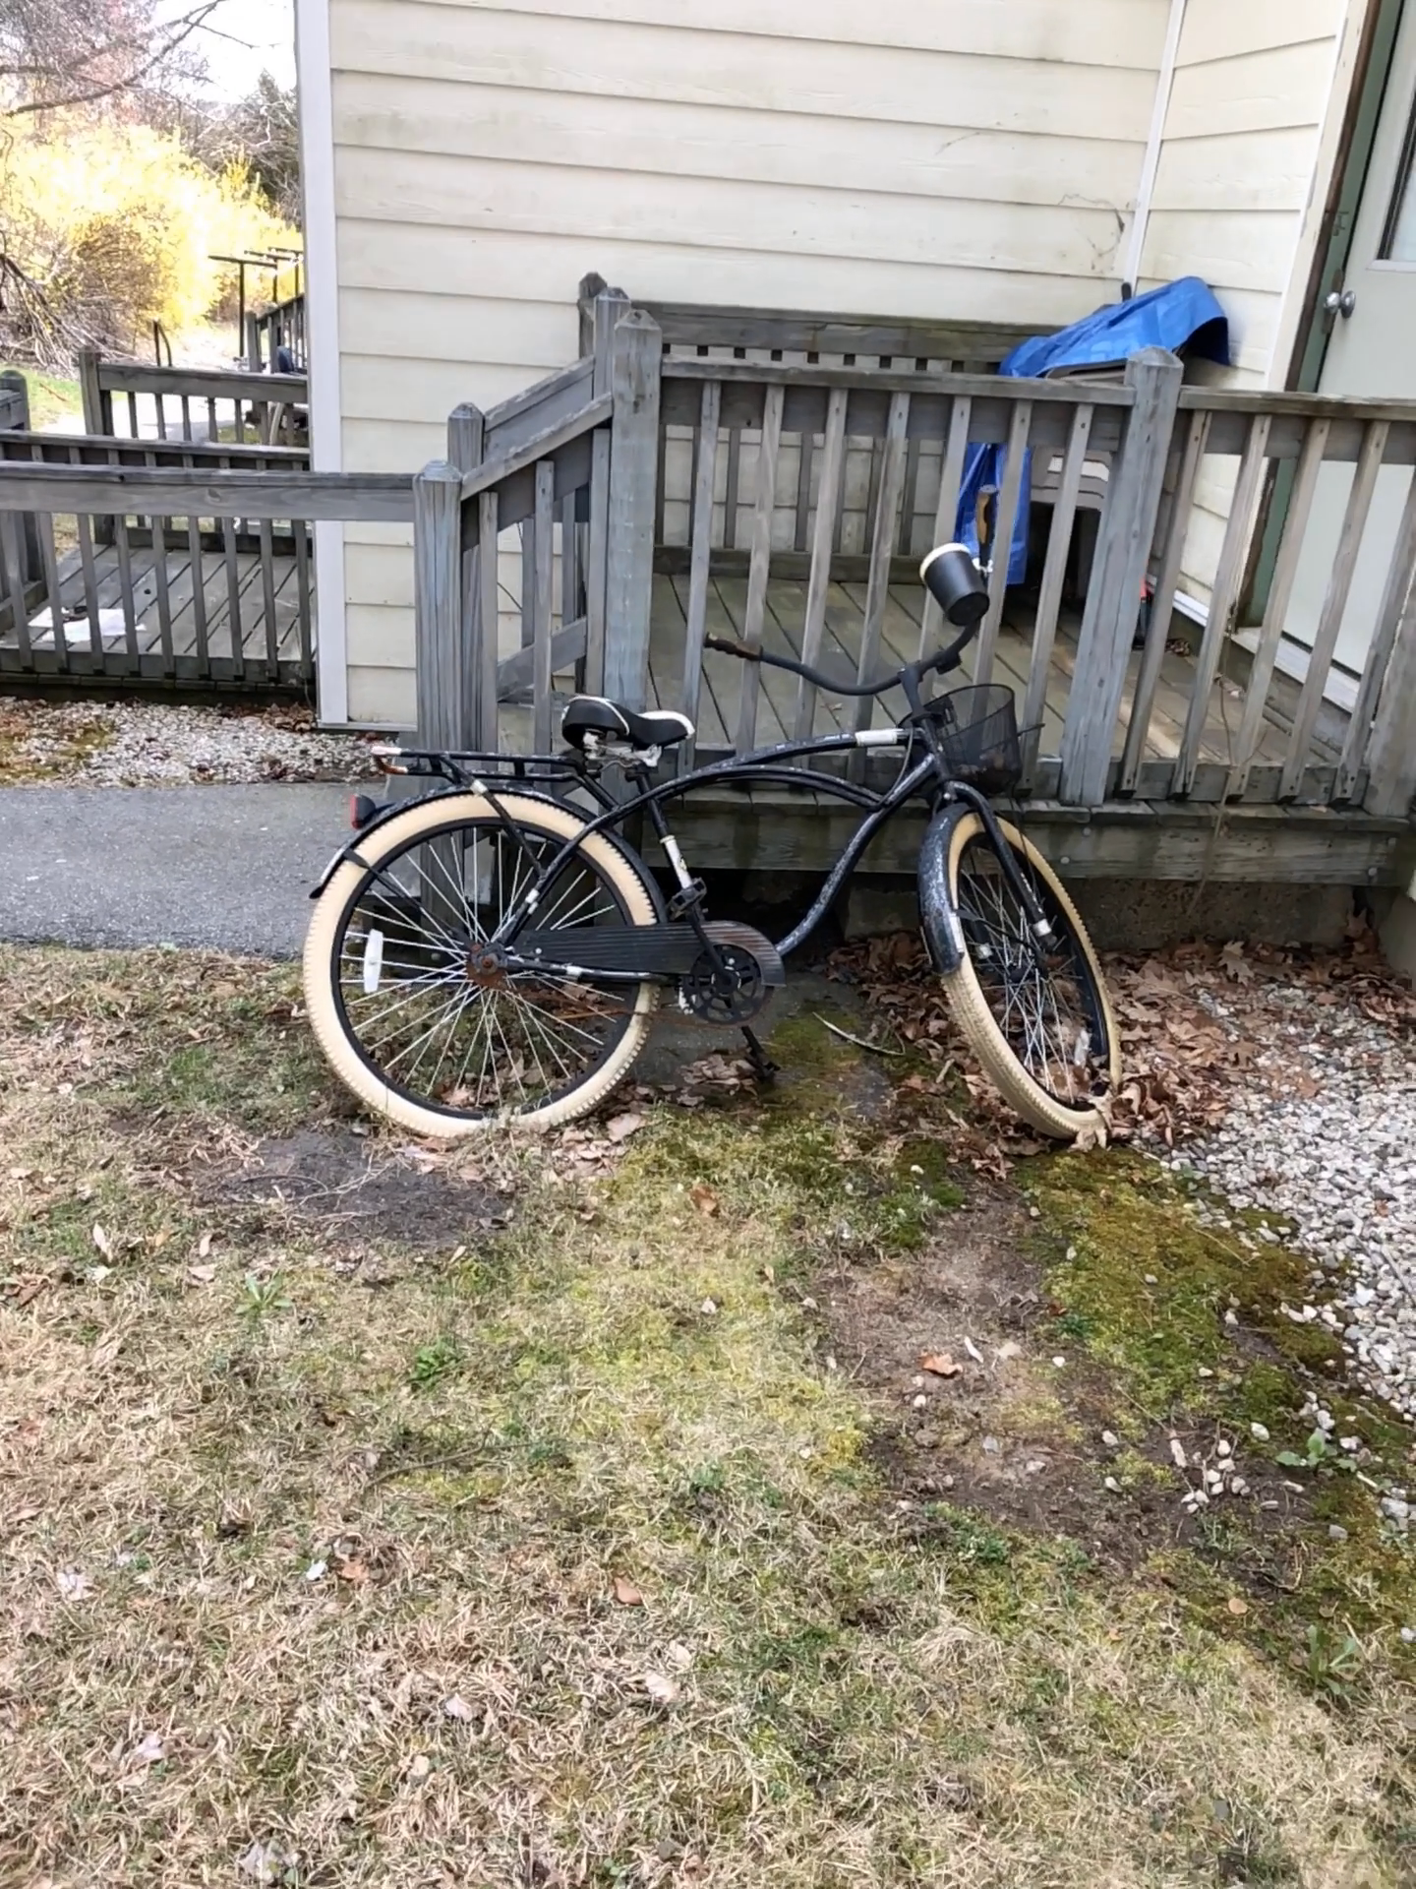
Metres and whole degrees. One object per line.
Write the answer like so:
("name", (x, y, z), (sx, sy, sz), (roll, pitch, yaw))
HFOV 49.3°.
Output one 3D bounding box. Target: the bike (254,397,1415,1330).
("bike", (0.170, -0.231, 2.871), (1.610, 1.313, 0.942), (-7, 27, -17))
